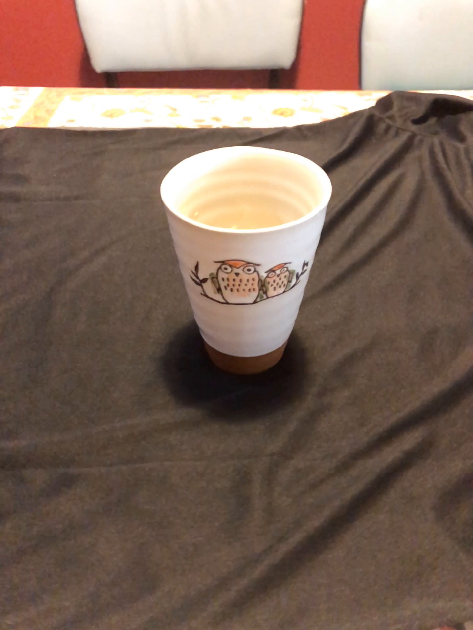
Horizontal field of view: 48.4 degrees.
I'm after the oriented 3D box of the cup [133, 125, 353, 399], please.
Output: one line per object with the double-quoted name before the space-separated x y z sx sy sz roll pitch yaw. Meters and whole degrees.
"cup" 0.009 -0.030 0.279 0.080 0.099 0.091 11 43 14
